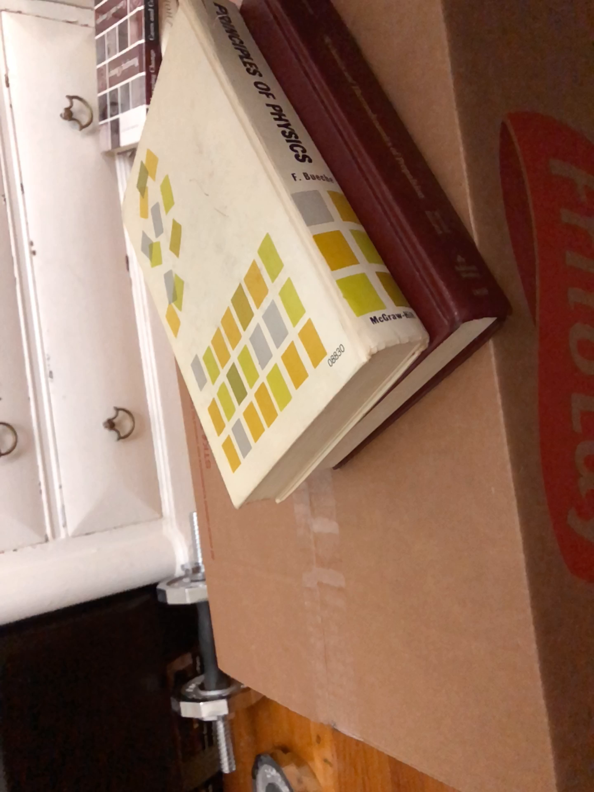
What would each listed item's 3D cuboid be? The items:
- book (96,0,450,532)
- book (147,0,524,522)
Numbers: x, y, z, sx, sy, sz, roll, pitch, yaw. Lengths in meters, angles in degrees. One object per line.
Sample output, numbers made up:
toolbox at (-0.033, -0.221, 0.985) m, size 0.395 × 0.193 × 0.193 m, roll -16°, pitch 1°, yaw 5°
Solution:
book at (-0.041, -0.075, 0.381) m, size 0.181 × 0.040 × 0.250 m, roll -50°, pitch 58°, yaw 46°
book at (-0.005, -0.078, 0.387) m, size 0.181 × 0.040 × 0.250 m, roll -47°, pitch 60°, yaw 48°
